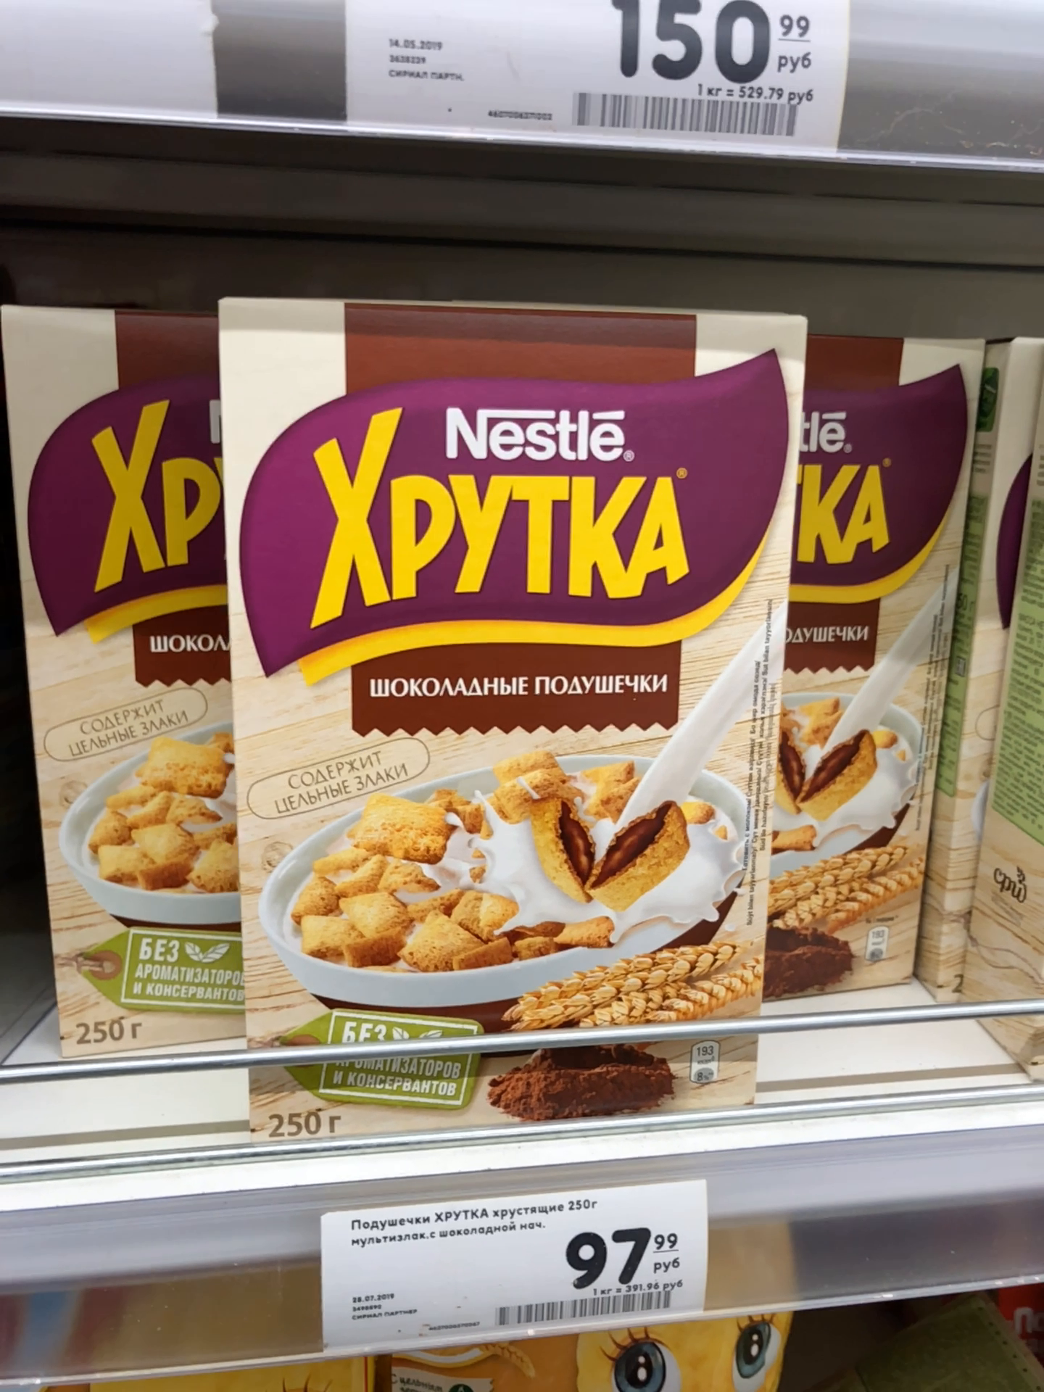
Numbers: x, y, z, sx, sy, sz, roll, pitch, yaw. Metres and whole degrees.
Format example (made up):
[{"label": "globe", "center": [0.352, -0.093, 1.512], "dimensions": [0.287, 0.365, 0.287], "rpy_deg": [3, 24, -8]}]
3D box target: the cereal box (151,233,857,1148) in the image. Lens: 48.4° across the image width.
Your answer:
[{"label": "cereal box", "center": [-0.006, 0.002, 0.304], "dimensions": [0.160, 0.219, 0.040], "rpy_deg": [-1, 12, -9]}]
